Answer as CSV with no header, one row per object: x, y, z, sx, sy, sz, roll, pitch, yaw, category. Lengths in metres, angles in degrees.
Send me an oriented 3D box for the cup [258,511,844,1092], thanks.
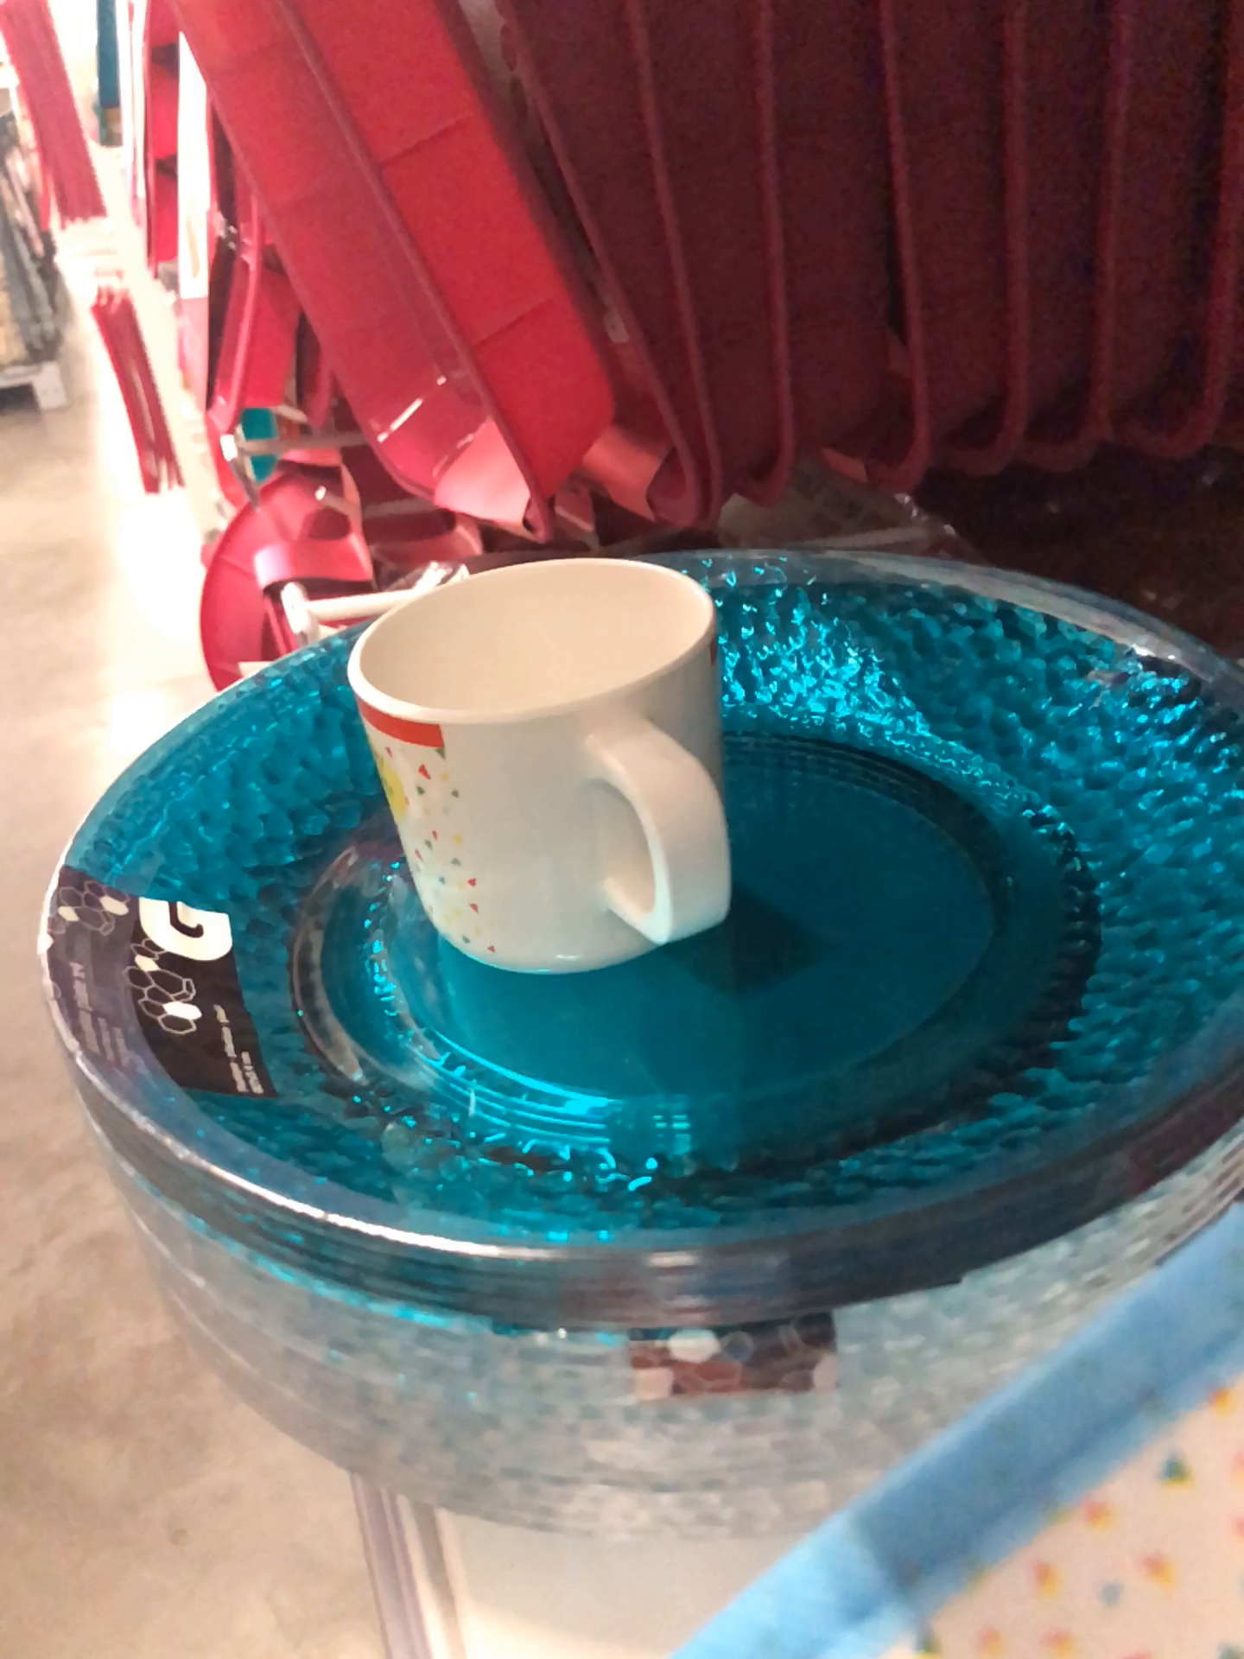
-0.017,-0.013,0.282,0.076,0.059,0.103,-22,34,-18,cup
